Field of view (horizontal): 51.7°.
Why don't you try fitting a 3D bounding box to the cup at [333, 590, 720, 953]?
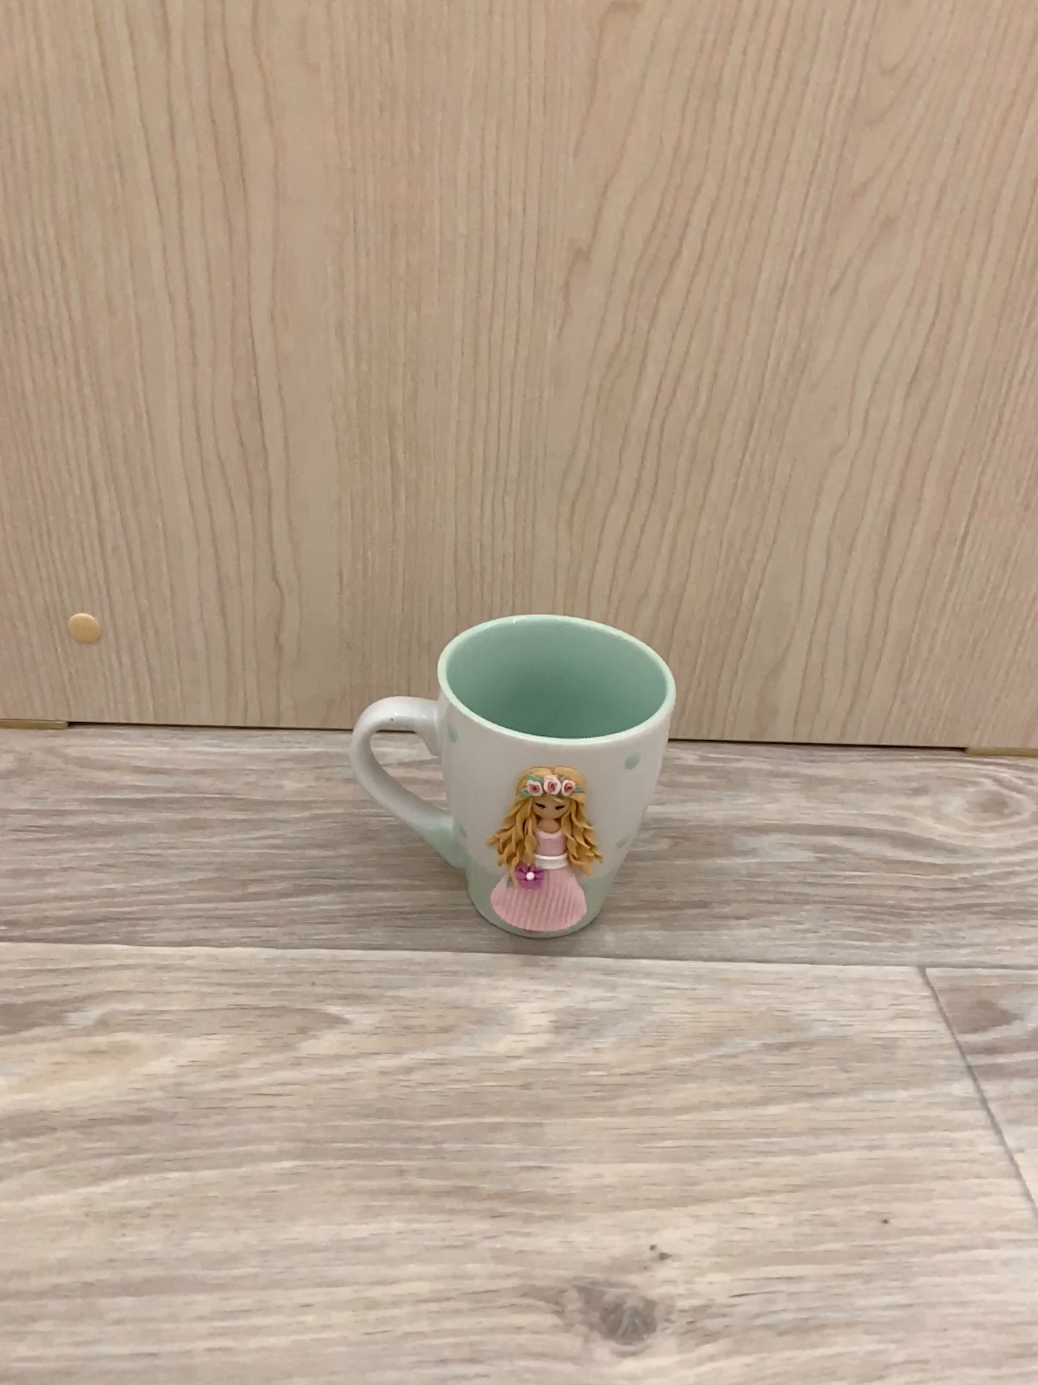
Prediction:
[{"bbox_3d":[-0.002,0.025,0.367,0.111,0.080,0.093,3,31,-4],"label":"cup"}]
